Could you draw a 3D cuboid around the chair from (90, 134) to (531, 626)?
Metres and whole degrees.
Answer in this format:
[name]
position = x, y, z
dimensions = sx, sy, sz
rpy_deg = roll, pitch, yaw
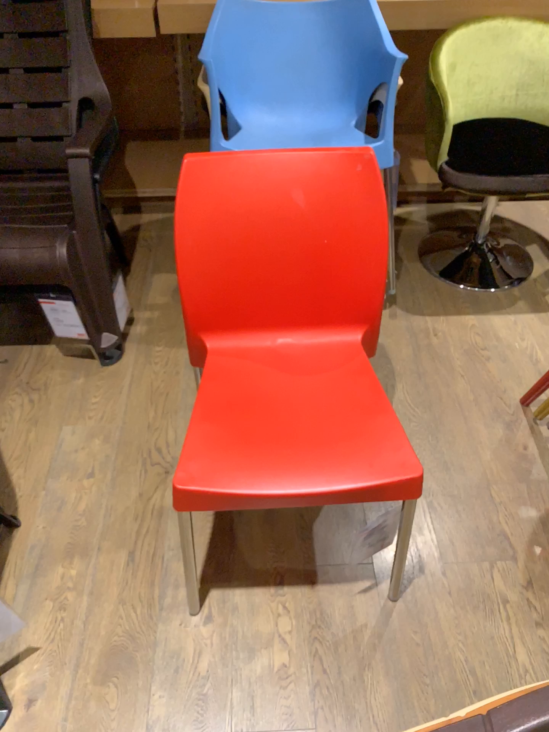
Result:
[chair]
position = 0.028, 0.054, 1.149
dimensions = 0.520, 0.787, 0.592
rpy_deg = -4, 45, -3
